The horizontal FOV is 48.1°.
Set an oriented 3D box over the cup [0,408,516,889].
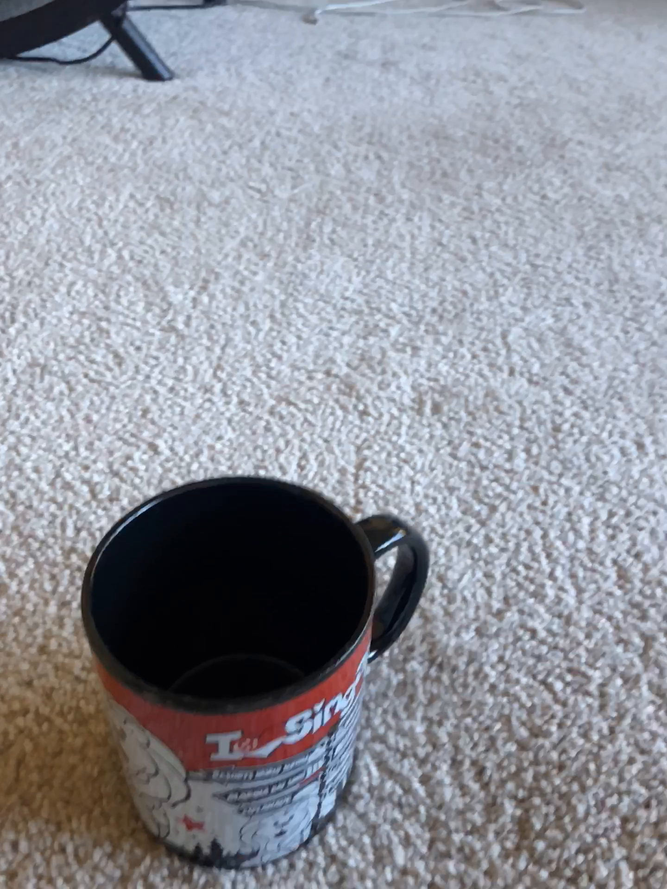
[{"bbox_3d":[-0.032,0.069,0.224,0.130,0.090,0.090,-23,46,-26],"label":"cup"}]
